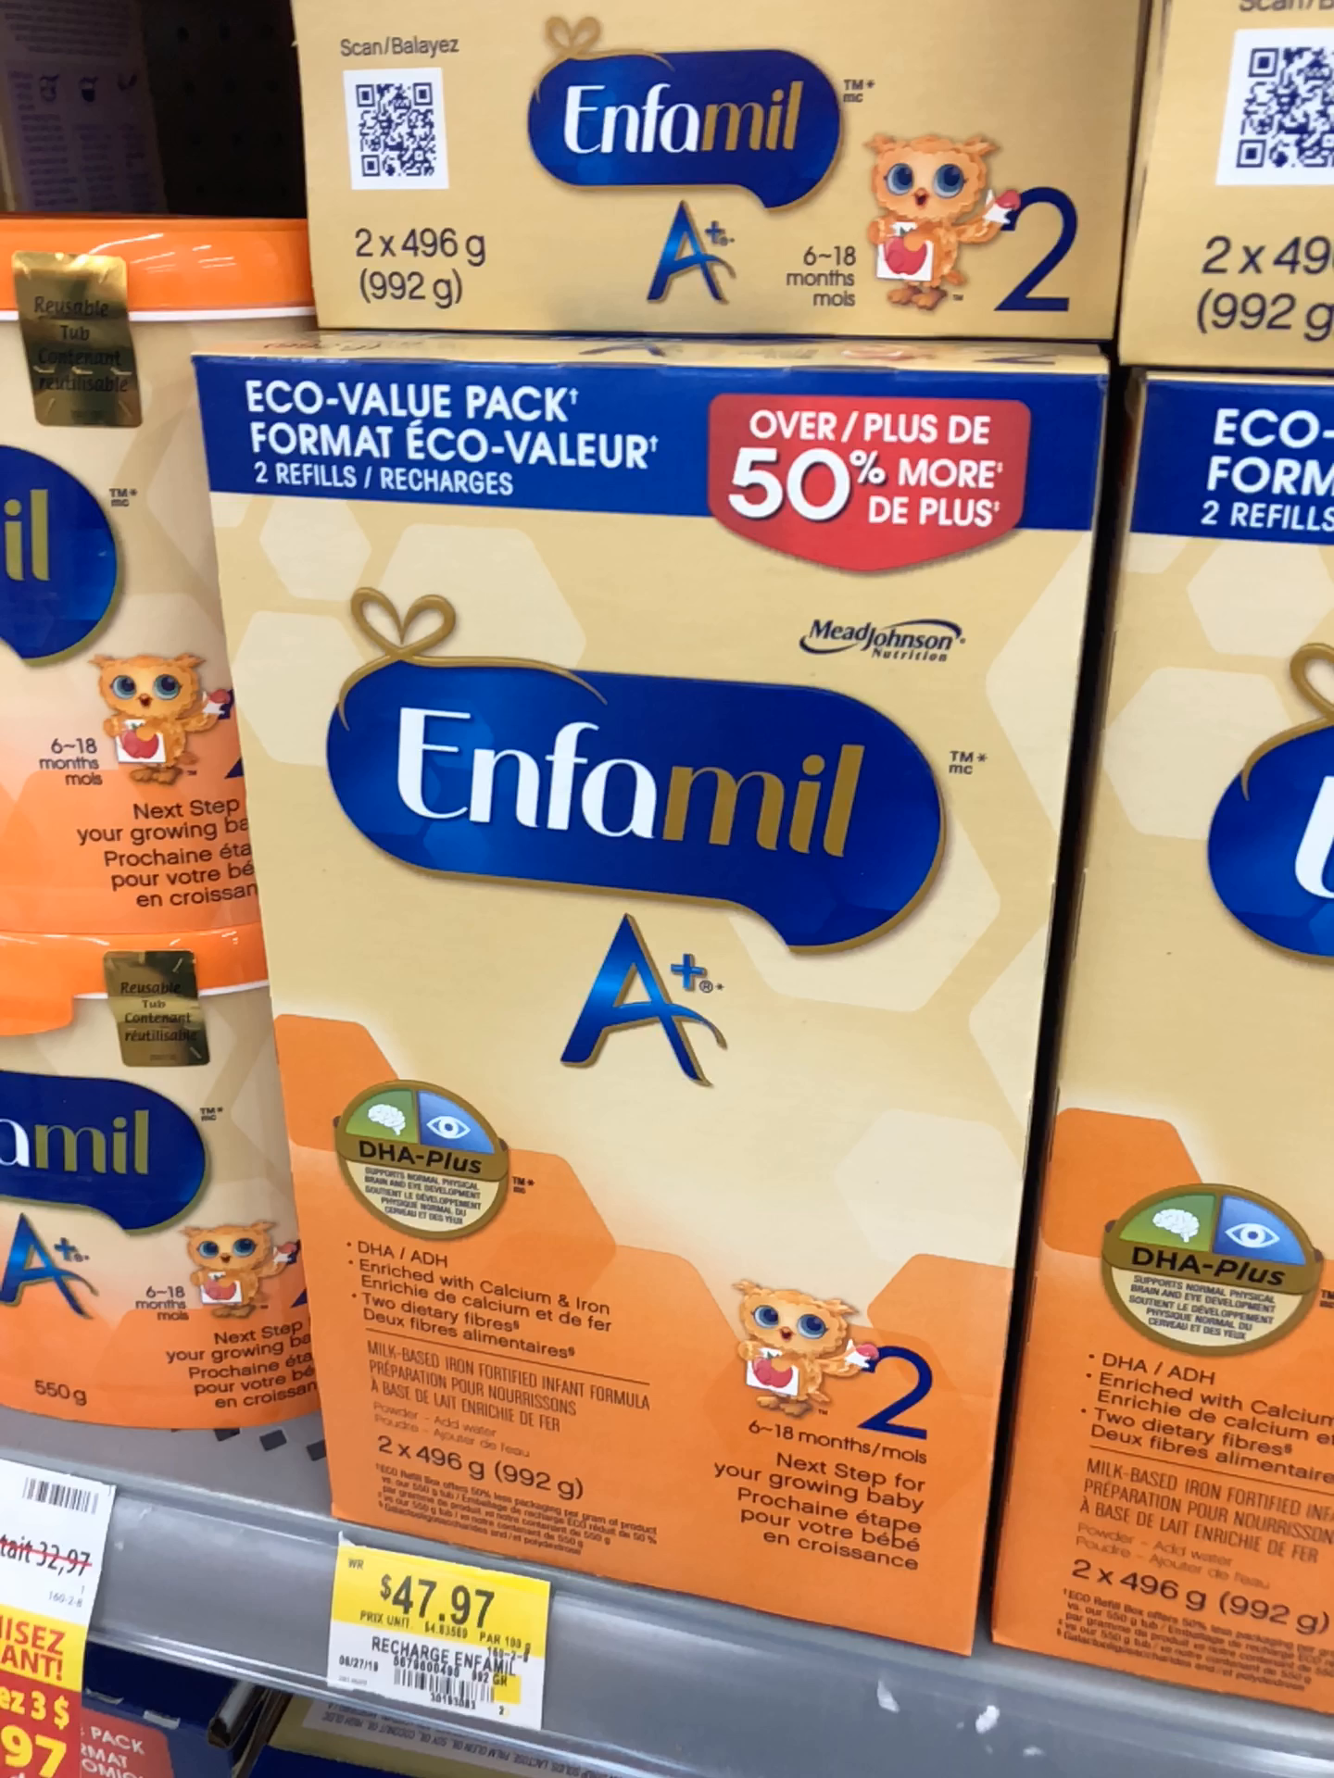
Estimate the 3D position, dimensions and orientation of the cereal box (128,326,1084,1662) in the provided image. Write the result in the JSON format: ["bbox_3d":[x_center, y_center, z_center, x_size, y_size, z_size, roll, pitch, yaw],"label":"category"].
[{"bbox_3d":[-0.005,0.020,0.293,0.140,0.238,0.081,6,25,12],"label":"cereal box"}]
